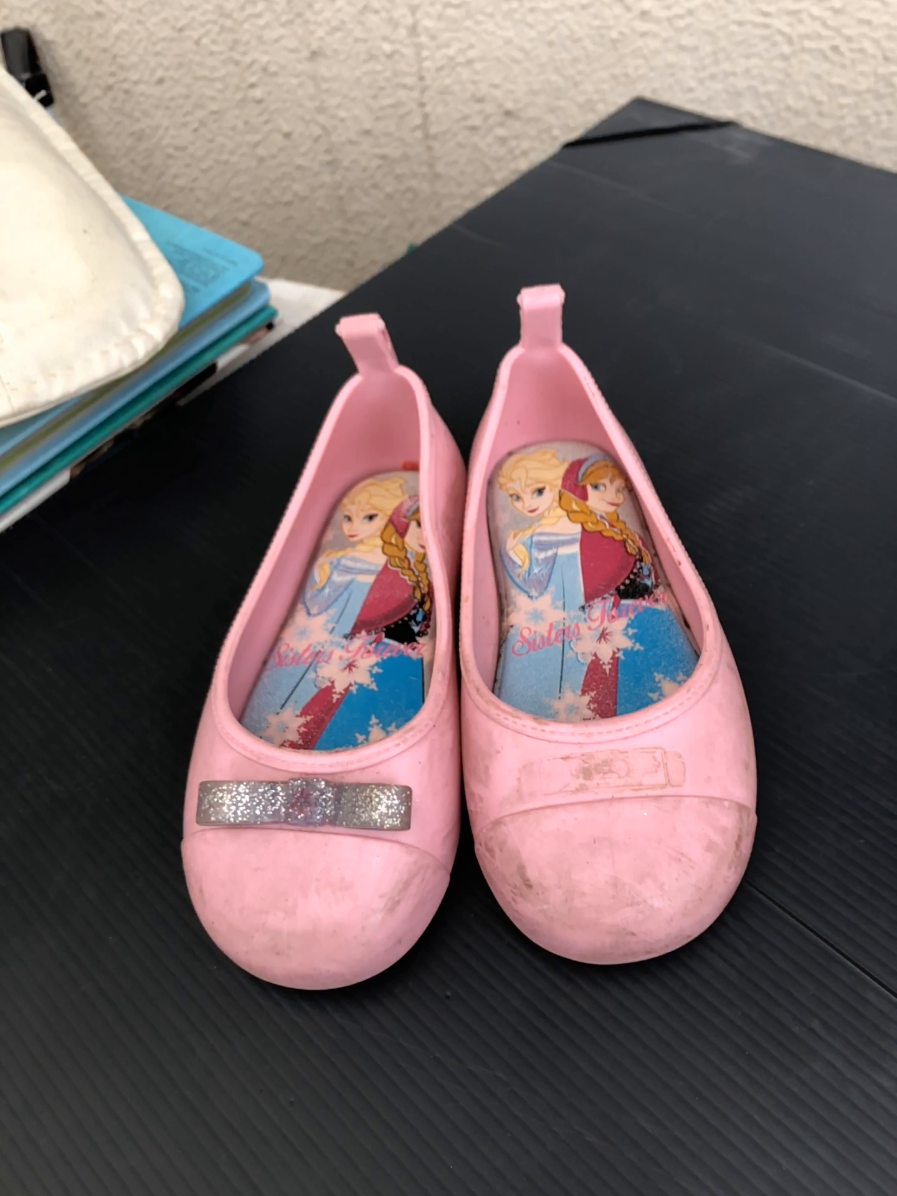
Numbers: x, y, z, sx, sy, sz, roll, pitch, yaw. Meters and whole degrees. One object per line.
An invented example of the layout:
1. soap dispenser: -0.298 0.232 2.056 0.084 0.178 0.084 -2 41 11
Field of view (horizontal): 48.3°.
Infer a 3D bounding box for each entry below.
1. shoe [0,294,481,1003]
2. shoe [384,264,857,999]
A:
1. shoe: -0.039 0.005 0.249 0.077 0.070 0.161 2 55 7
2. shoe: 0.030 0.002 0.240 0.077 0.070 0.161 -3 55 4
